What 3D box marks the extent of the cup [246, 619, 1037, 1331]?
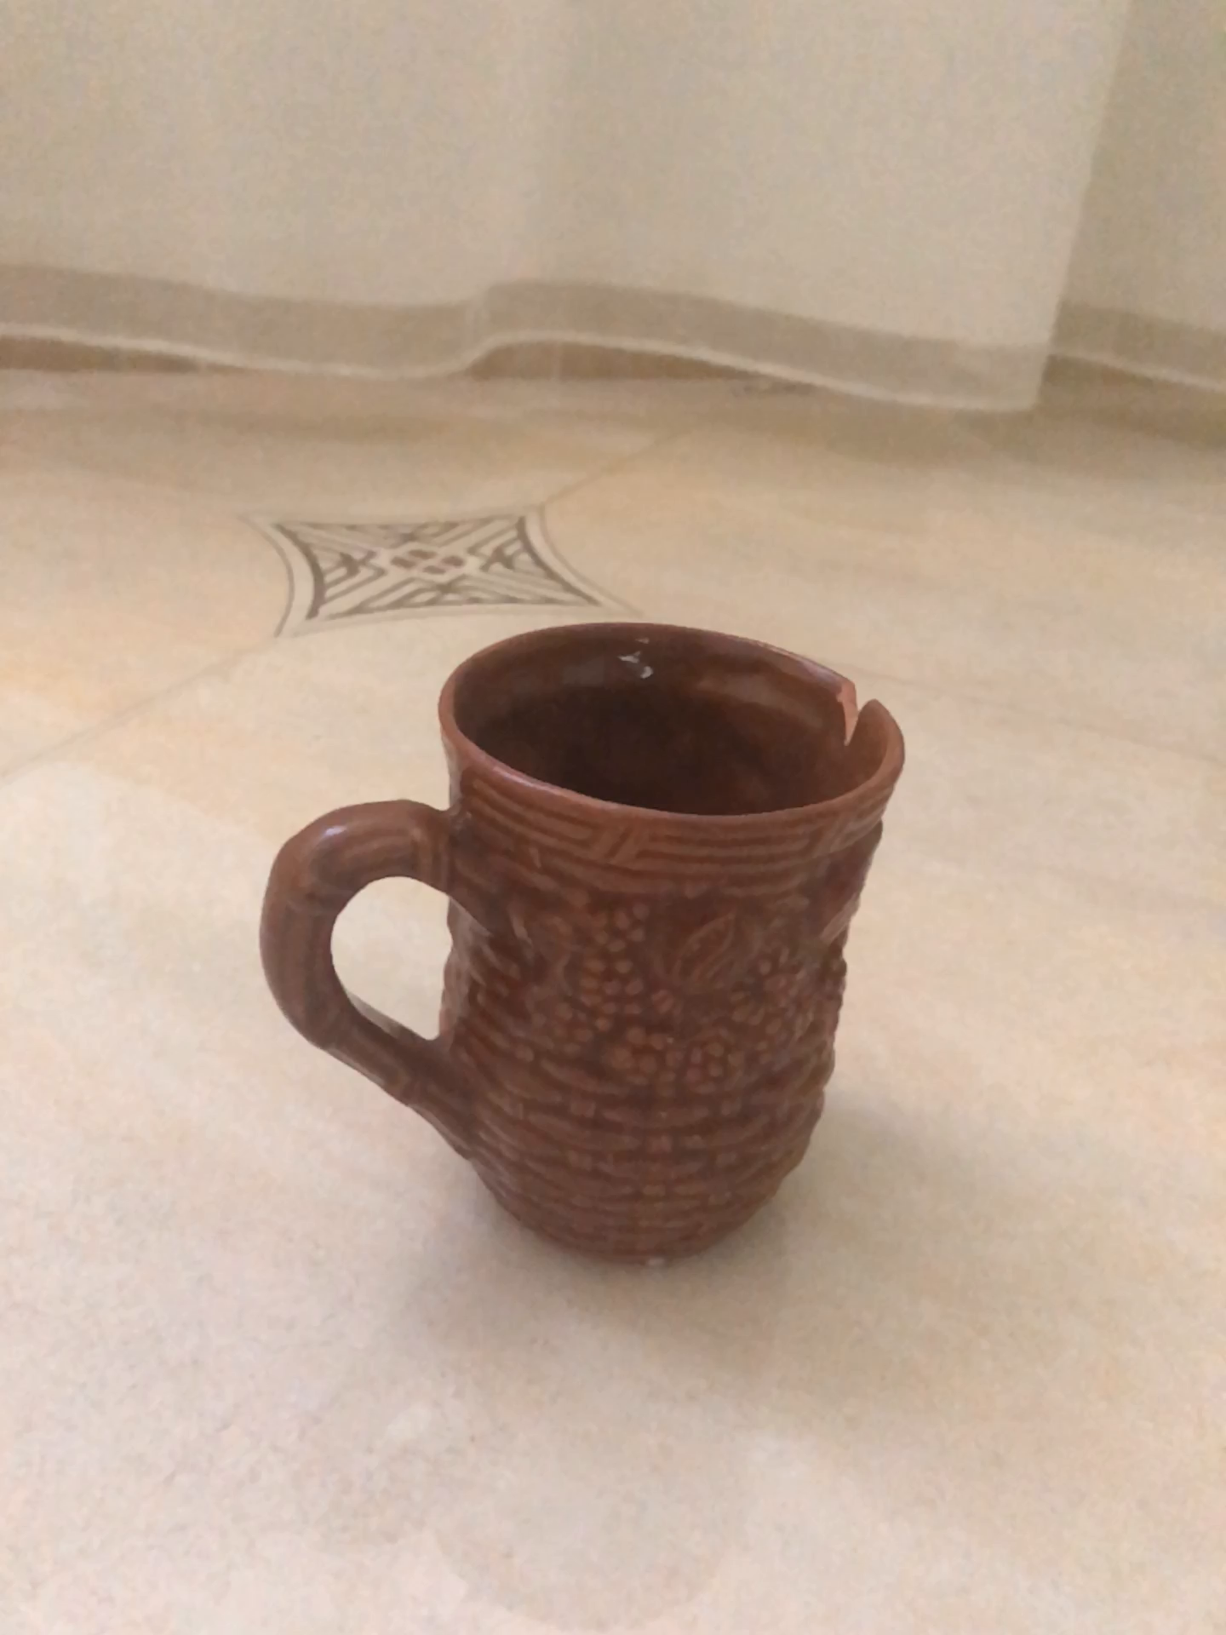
[{"bbox_3d":[-0.004,0.020,0.225,0.104,0.081,0.073,-3,30,-14],"label":"cup"}]
